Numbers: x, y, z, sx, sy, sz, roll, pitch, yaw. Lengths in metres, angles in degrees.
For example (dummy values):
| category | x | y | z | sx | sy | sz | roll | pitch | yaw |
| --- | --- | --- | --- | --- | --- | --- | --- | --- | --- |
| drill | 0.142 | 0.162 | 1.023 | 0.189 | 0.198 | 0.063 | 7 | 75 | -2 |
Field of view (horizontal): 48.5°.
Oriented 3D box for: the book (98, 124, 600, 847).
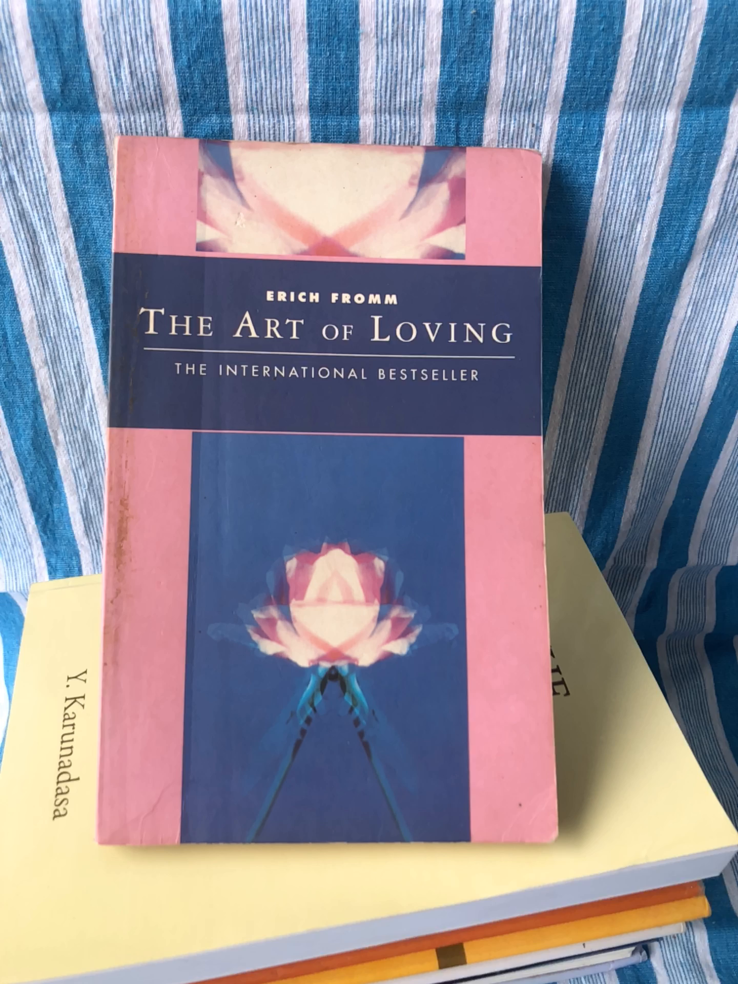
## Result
| category | x | y | z | sx | sy | sz | roll | pitch | yaw |
| --- | --- | --- | --- | --- | --- | --- | --- | --- | --- |
| book | -0.005 | -0.005 | 0.226 | 0.129 | 0.015 | 0.193 | 0 | 86 | -1 |
